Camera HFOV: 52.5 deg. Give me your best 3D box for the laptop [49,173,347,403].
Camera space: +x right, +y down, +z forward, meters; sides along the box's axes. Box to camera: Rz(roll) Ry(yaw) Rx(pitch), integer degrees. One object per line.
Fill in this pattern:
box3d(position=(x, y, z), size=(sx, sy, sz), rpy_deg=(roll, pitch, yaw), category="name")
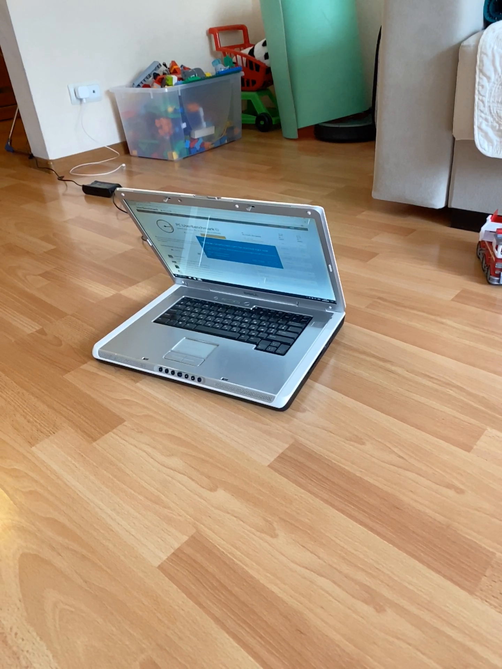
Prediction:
box3d(position=(-0.068, -0.107, 0.864), size=(0.387, 0.238, 0.274), rpy_deg=(12, 35, 25), category="laptop")
